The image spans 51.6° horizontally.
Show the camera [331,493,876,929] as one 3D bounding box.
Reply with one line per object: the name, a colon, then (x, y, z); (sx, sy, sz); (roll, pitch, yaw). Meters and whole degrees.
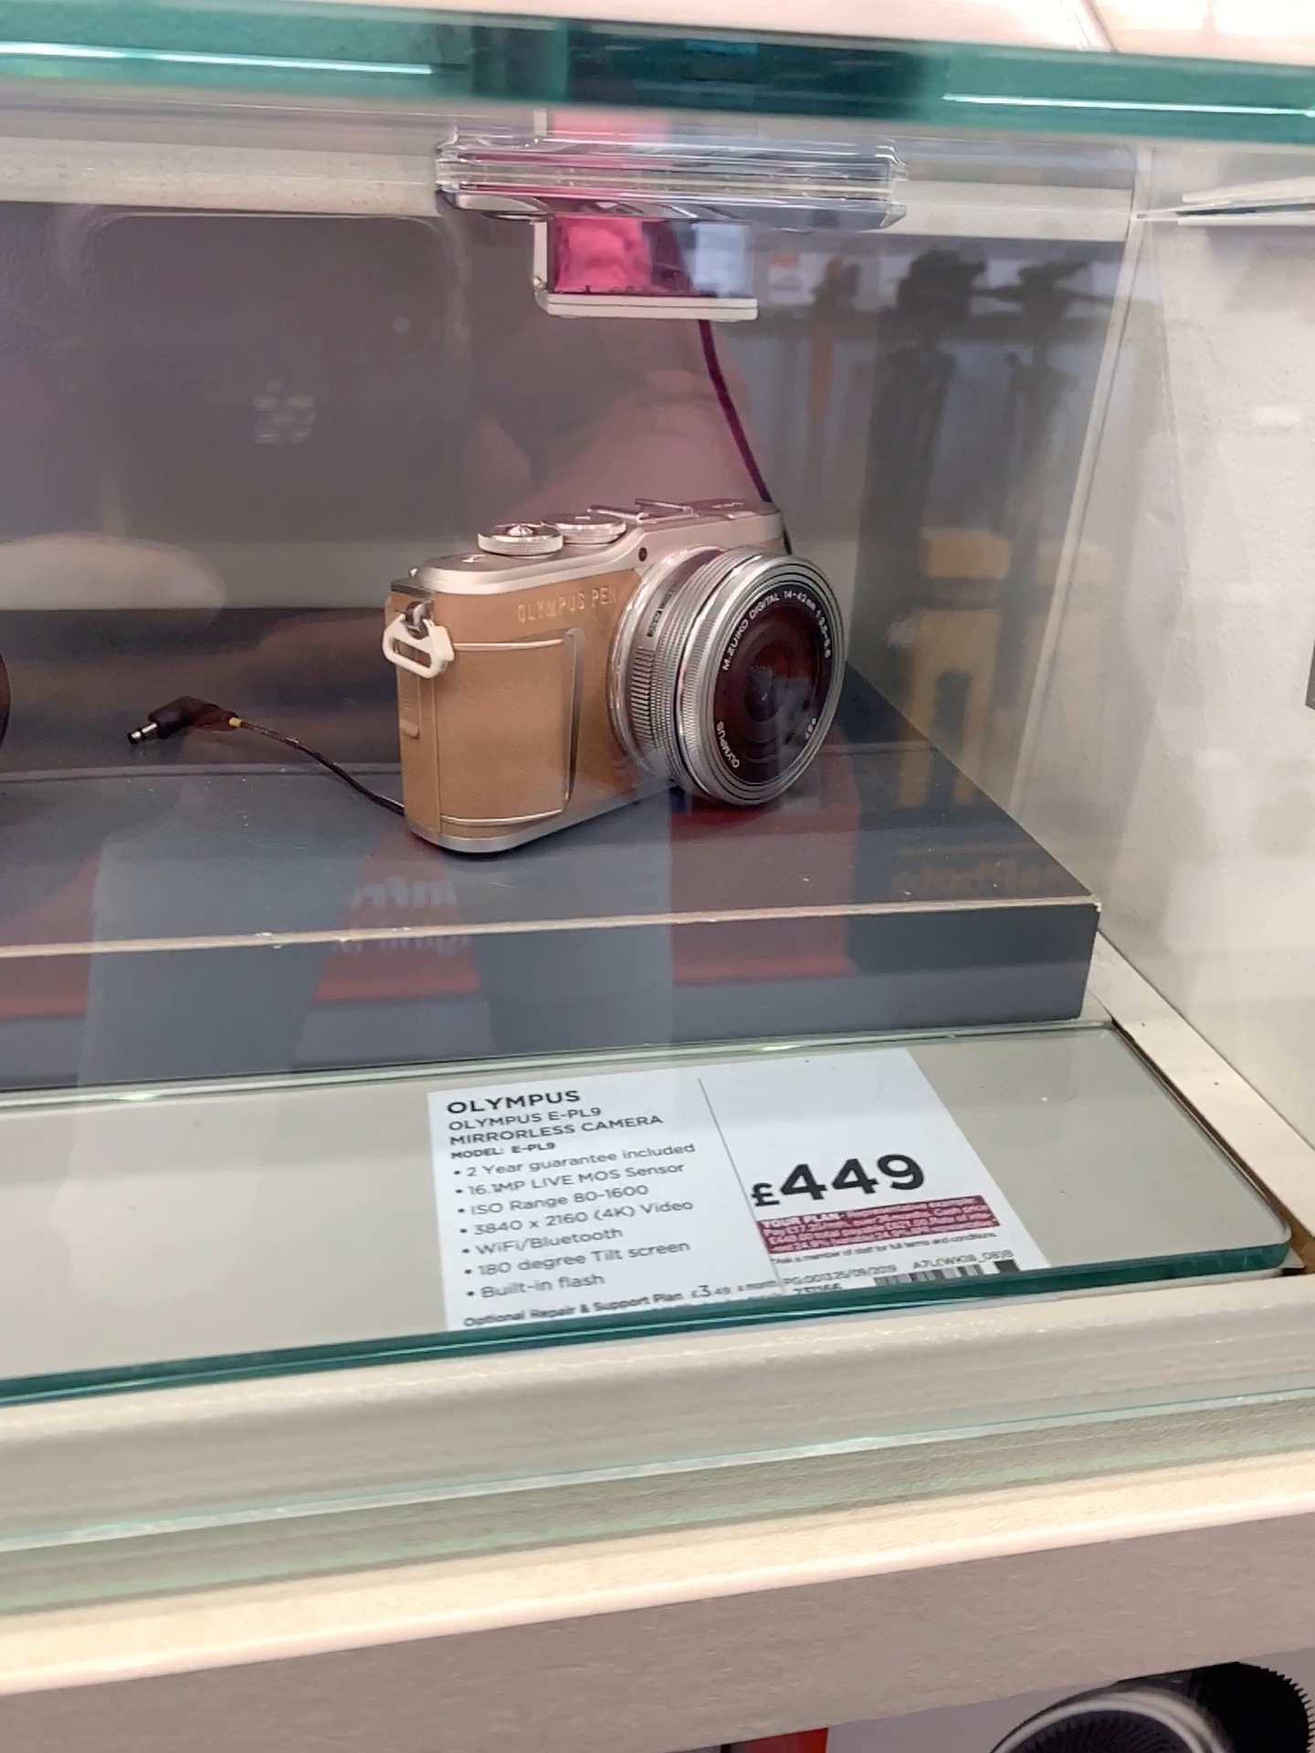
camera: (-0.009, -0.047, 0.328); (0.060, 0.069, 0.121); (21, 30, 36)
